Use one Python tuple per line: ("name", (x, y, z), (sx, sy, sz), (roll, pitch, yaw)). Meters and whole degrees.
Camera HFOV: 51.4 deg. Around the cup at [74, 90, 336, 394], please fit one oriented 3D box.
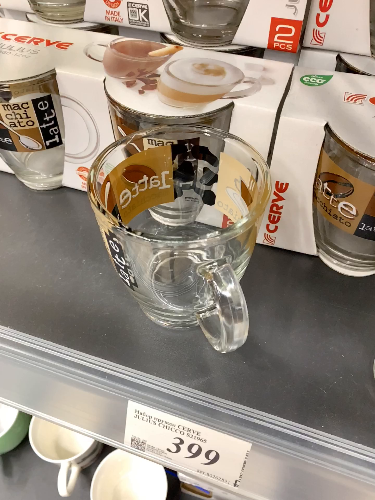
("cup", (-0.002, -0.009, 0.205), (0.084, 0.086, 0.119), (-12, 50, -10))
